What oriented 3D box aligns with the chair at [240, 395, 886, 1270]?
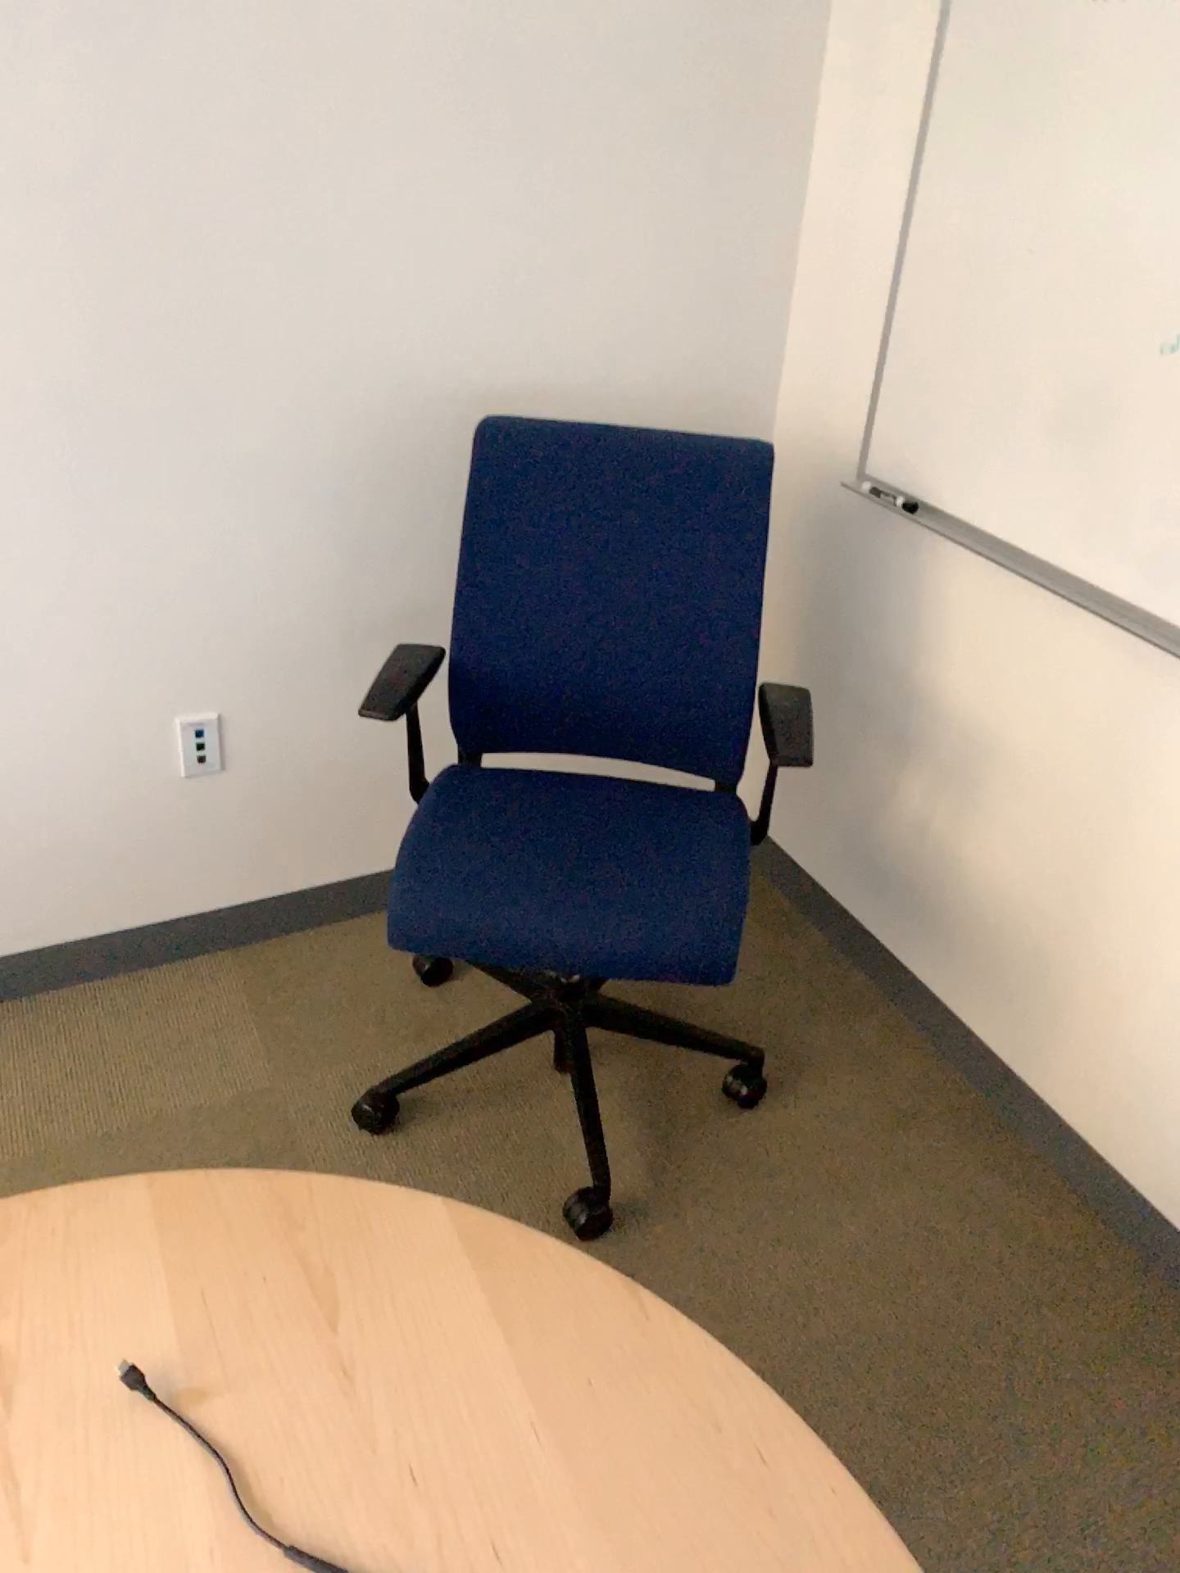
[{"bbox_3d":[0.019,0.001,2.024,0.740,0.994,0.985,8,31,7],"label":"chair"}]
